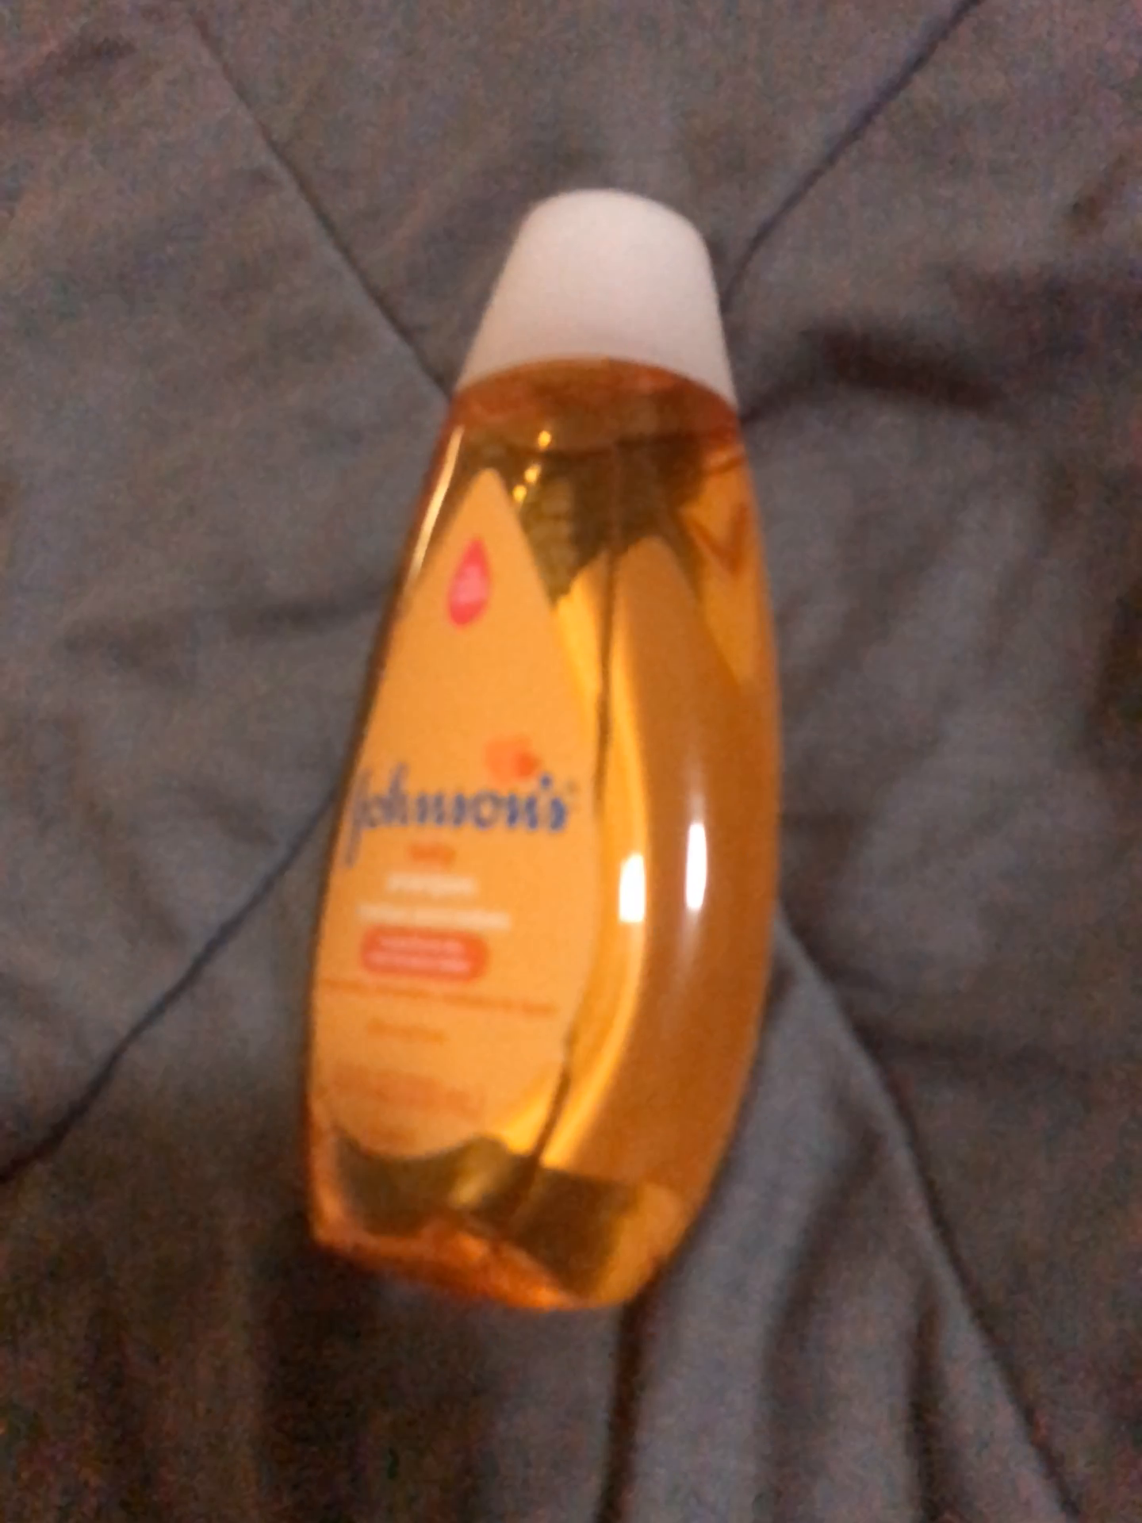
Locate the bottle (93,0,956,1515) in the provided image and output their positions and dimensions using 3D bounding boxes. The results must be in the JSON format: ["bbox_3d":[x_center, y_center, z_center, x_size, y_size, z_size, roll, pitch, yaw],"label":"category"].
[{"bbox_3d":[-0.005,-0.006,0.168,0.084,0.040,0.160,2,79,37],"label":"bottle"}]
